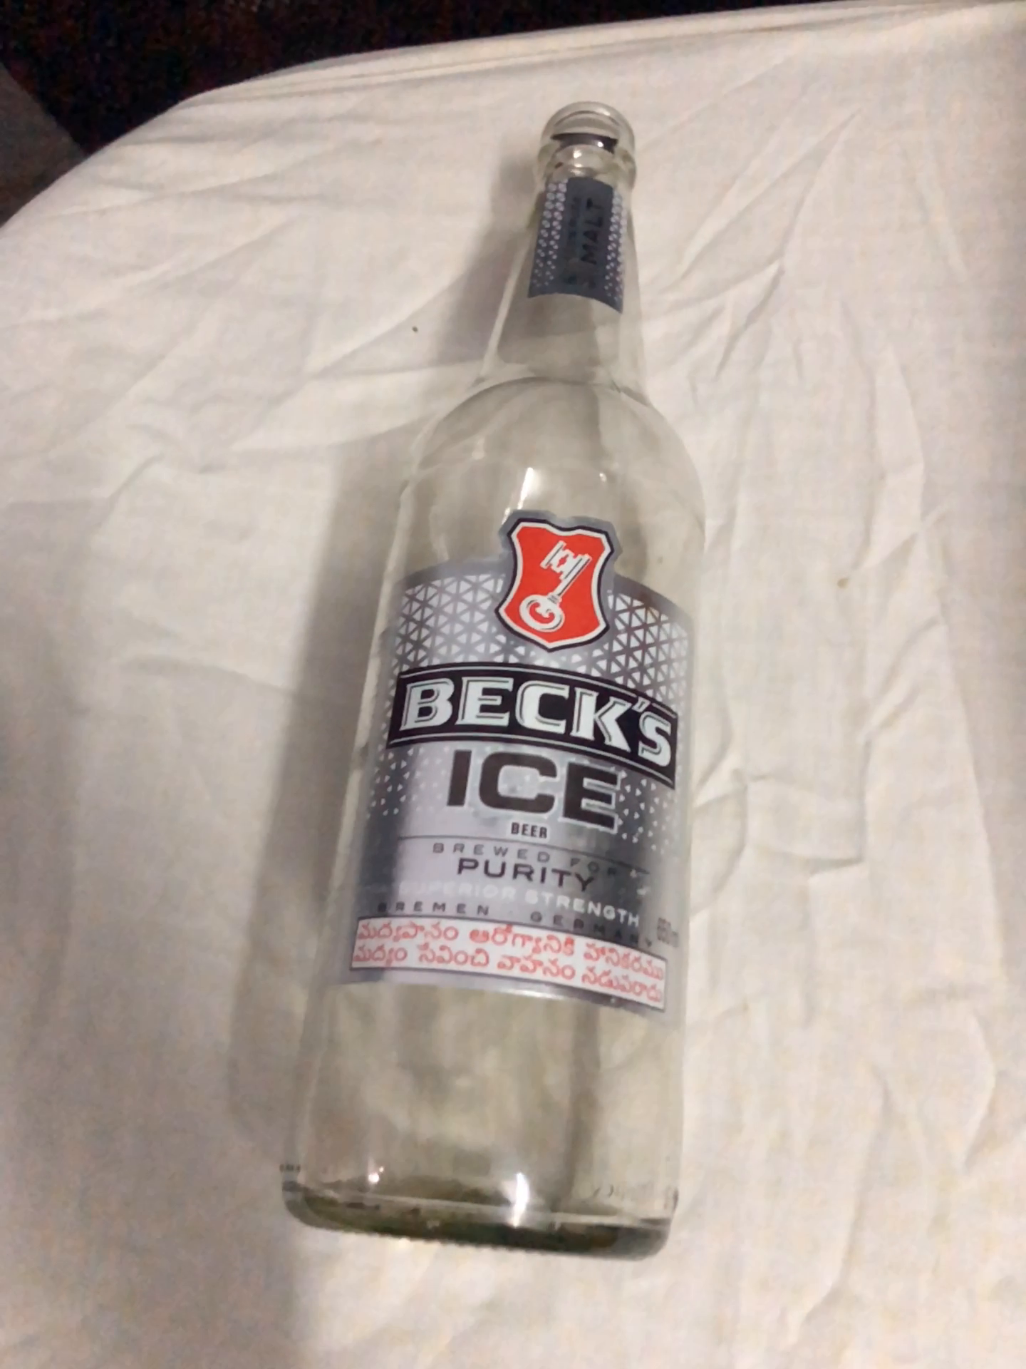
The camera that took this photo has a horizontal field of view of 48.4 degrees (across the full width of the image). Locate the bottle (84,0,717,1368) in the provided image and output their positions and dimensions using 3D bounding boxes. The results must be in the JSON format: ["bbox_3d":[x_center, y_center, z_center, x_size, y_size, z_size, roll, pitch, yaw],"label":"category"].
[{"bbox_3d":[-0.003,-0.033,0.230,0.080,0.080,0.280,0,72,12],"label":"bottle"}]
